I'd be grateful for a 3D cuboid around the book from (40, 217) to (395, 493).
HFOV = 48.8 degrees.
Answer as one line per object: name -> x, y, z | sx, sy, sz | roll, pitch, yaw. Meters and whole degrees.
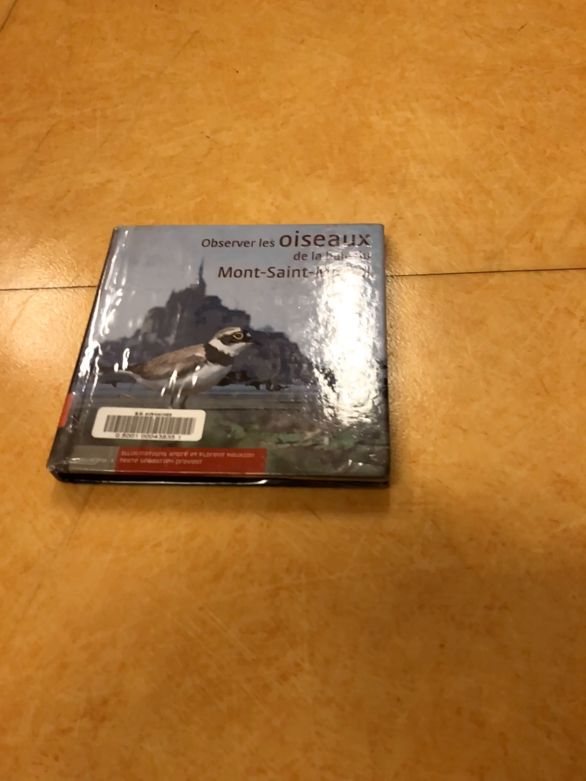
book -> -0.029, -0.026, 0.322 | 0.153, 0.015, 0.156 | 0, 57, 5
